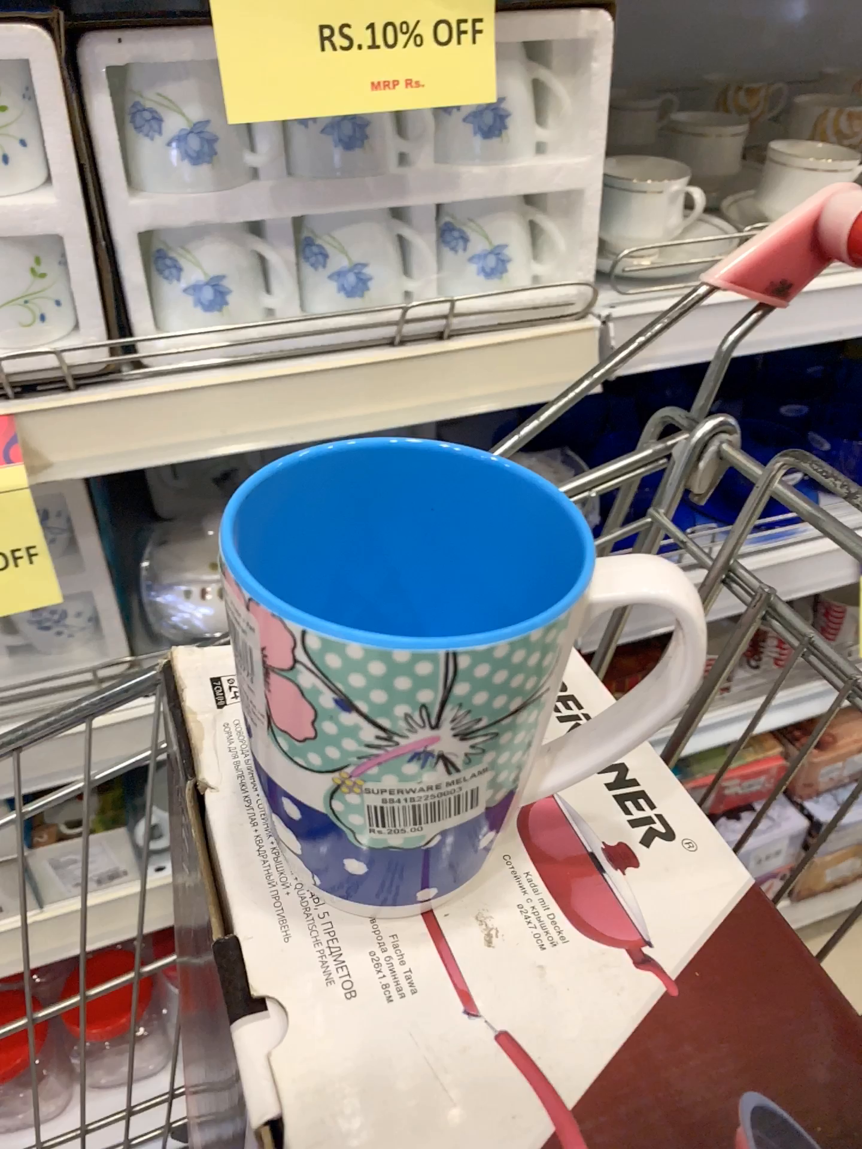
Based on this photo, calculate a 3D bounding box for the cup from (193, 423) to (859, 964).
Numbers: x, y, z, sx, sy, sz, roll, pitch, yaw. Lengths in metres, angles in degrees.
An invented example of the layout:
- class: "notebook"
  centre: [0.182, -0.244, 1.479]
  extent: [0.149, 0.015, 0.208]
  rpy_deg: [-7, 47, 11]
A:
- class: "cup"
  centre: [0.012, 0.027, 0.219]
  extent: [0.120, 0.100, 0.080]
  rpy_deg: [0, 37, -7]
